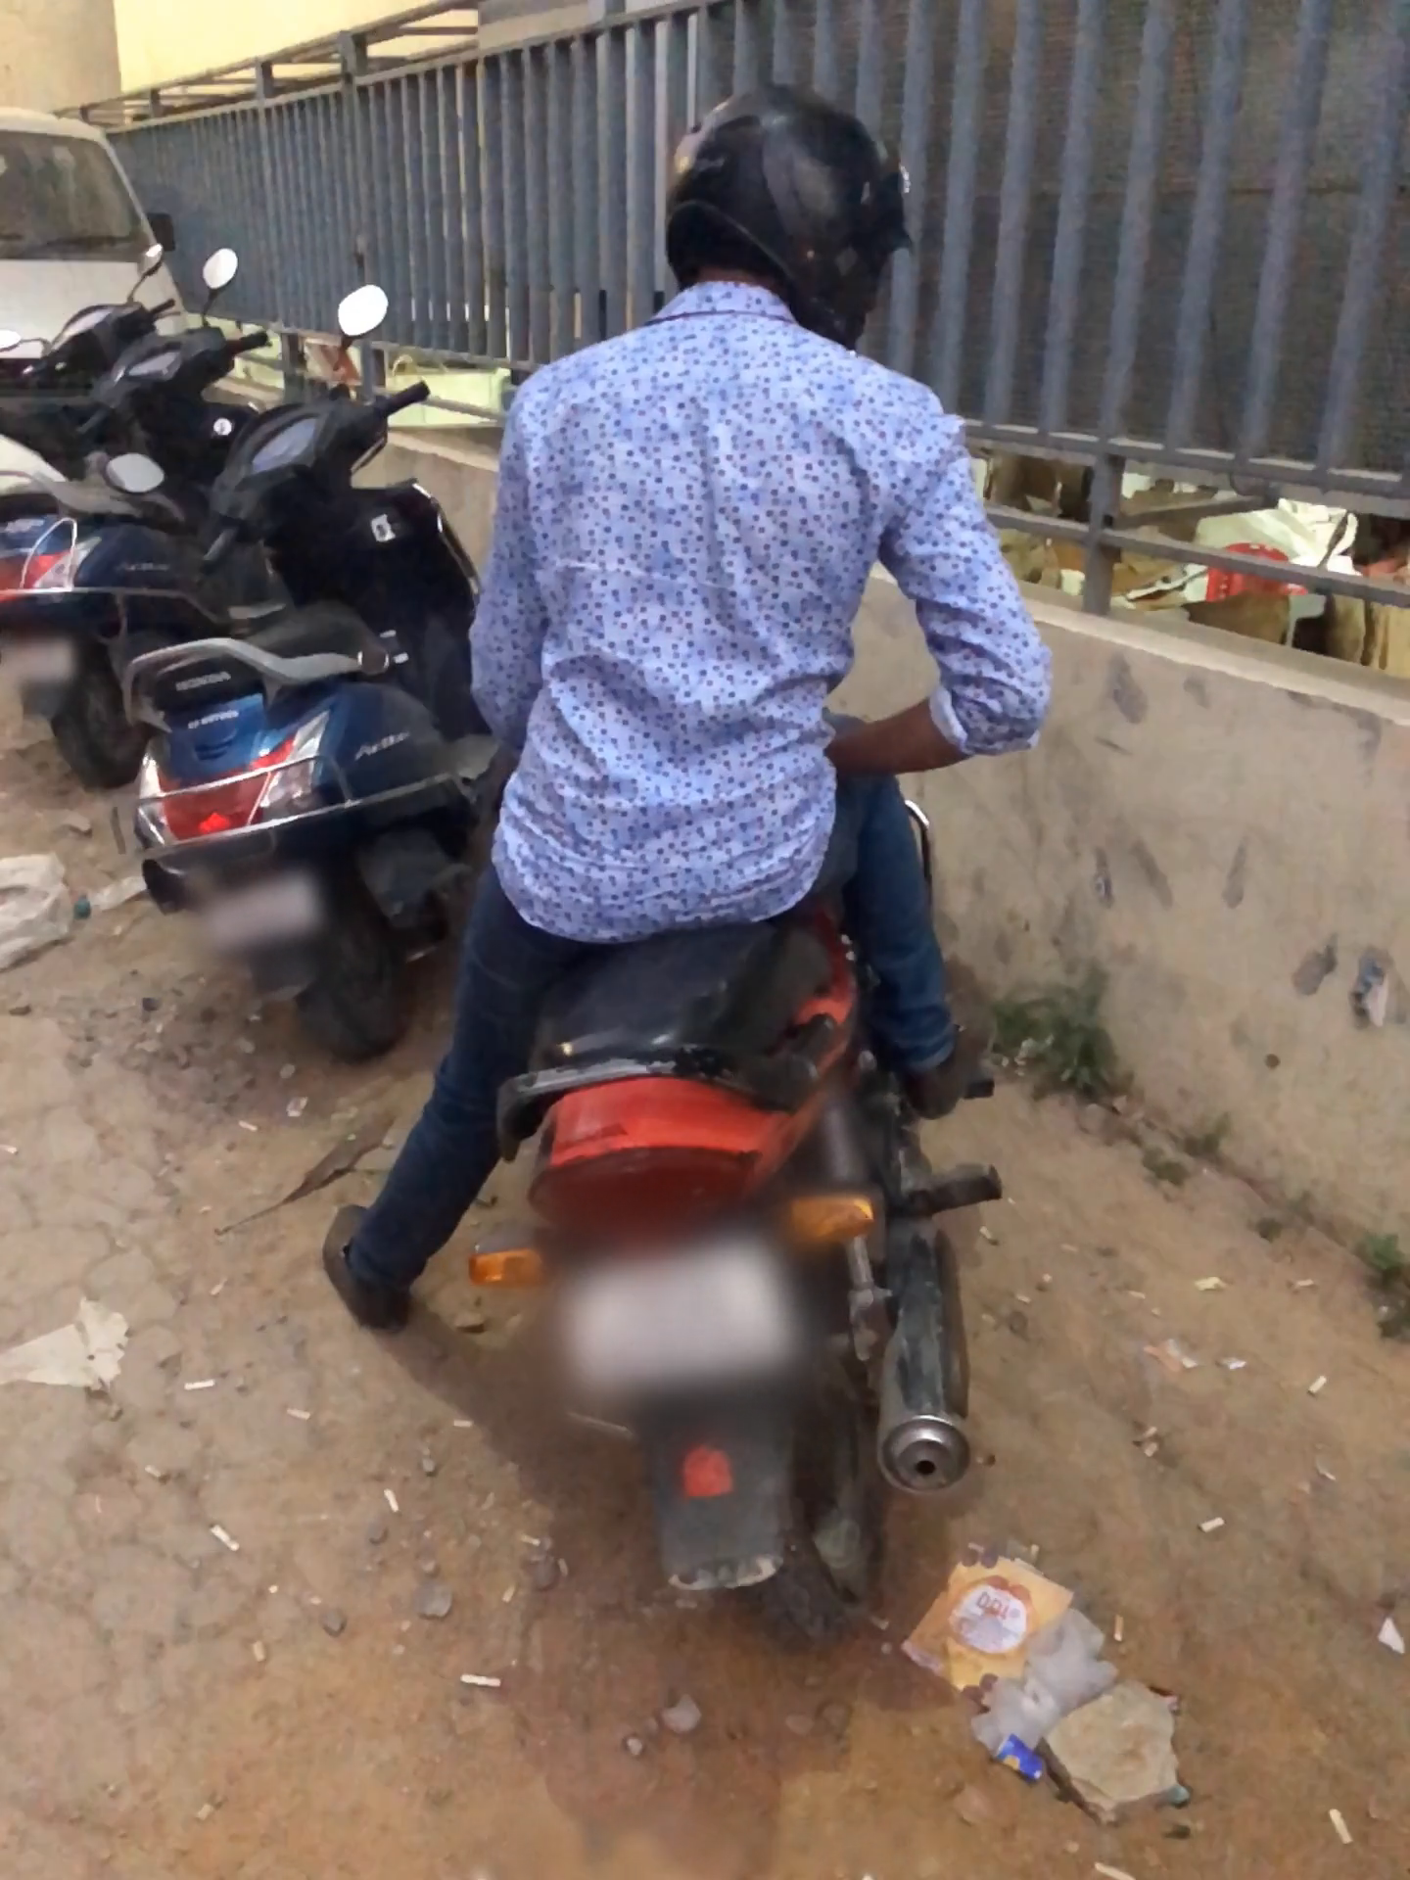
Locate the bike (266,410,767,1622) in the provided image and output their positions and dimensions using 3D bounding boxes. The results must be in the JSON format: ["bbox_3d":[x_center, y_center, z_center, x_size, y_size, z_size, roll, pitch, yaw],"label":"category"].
[{"bbox_3d":[-0.246,-0.118,2.176,0.424,0.830,1.661,0,29,-5],"label":"bike"}]
